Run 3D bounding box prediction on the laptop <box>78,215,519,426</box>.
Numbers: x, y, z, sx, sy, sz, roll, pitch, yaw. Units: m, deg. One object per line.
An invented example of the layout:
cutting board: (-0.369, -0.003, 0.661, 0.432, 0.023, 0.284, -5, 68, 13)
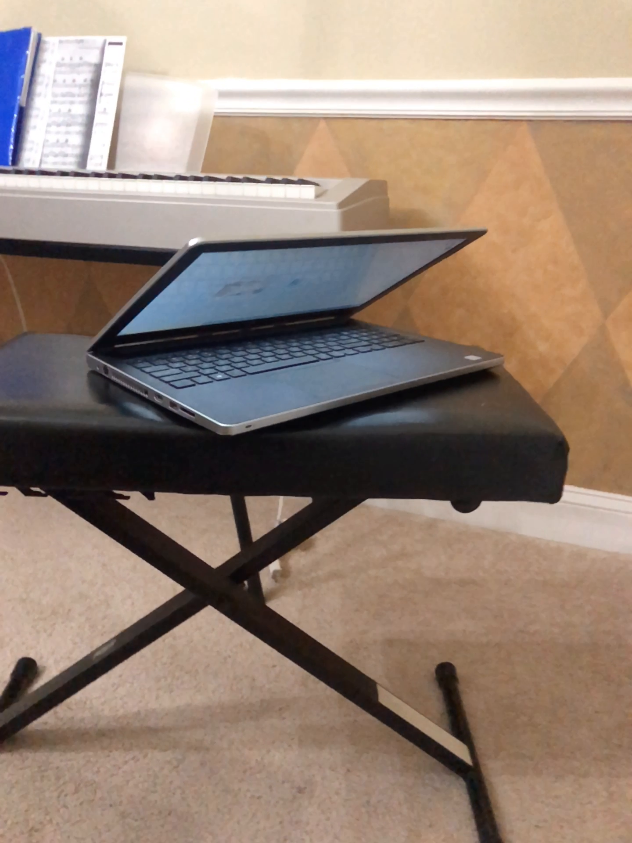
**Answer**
laptop: (-0.012, -0.137, 0.751, 0.376, 0.136, 0.262, -15, 27, -38)
